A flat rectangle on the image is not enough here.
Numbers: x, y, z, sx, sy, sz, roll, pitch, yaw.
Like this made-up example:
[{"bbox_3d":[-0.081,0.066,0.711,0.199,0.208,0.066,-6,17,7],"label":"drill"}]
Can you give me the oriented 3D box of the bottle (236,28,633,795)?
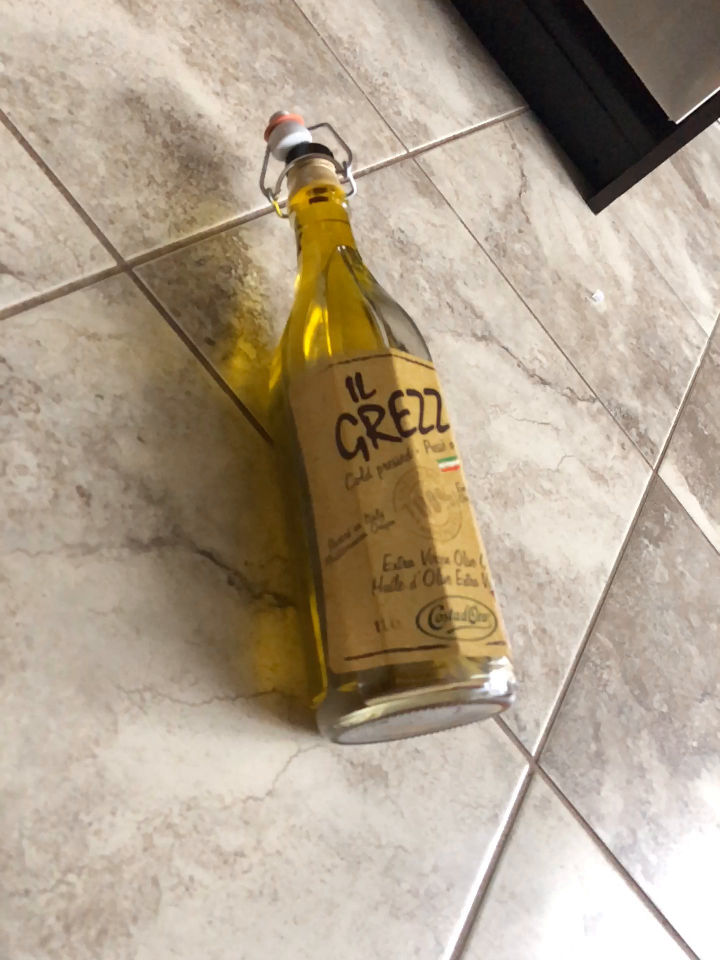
[{"bbox_3d":[0.013,-0.046,0.378,0.090,0.100,0.350,16,53,-36],"label":"bottle"}]
